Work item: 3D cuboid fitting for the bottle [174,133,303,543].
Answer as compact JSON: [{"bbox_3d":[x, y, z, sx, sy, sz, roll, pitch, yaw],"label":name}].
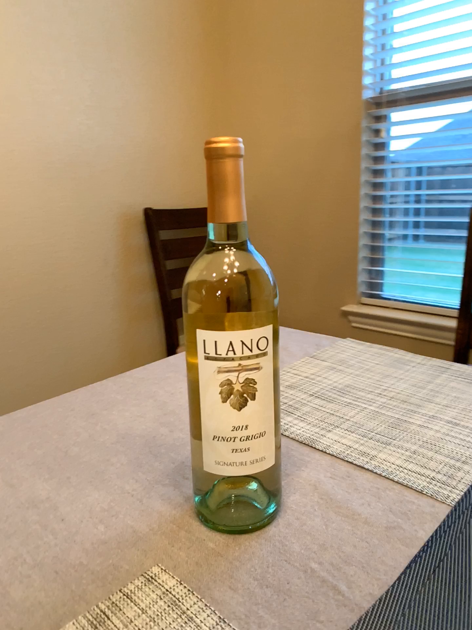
[{"bbox_3d":[0.003,0.020,0.385,0.083,0.299,0.080,-2,13,0],"label":"bottle"}]
